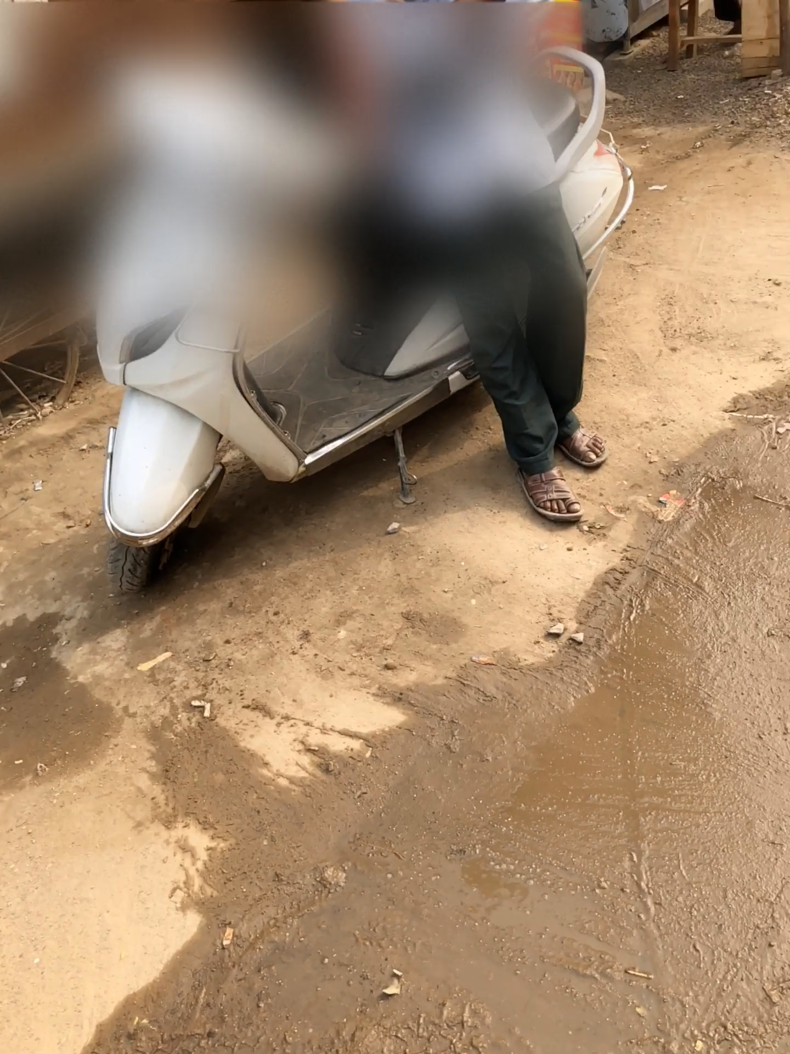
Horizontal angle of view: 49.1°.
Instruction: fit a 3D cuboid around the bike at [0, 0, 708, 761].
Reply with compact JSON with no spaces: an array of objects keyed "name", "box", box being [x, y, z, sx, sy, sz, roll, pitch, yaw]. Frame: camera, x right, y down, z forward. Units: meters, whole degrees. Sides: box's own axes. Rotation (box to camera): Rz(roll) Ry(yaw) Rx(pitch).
[{"name":"bike","box":[-0.031,-0.523,1.974,1.581,1.113,0.657,-37,43,-26]}]
